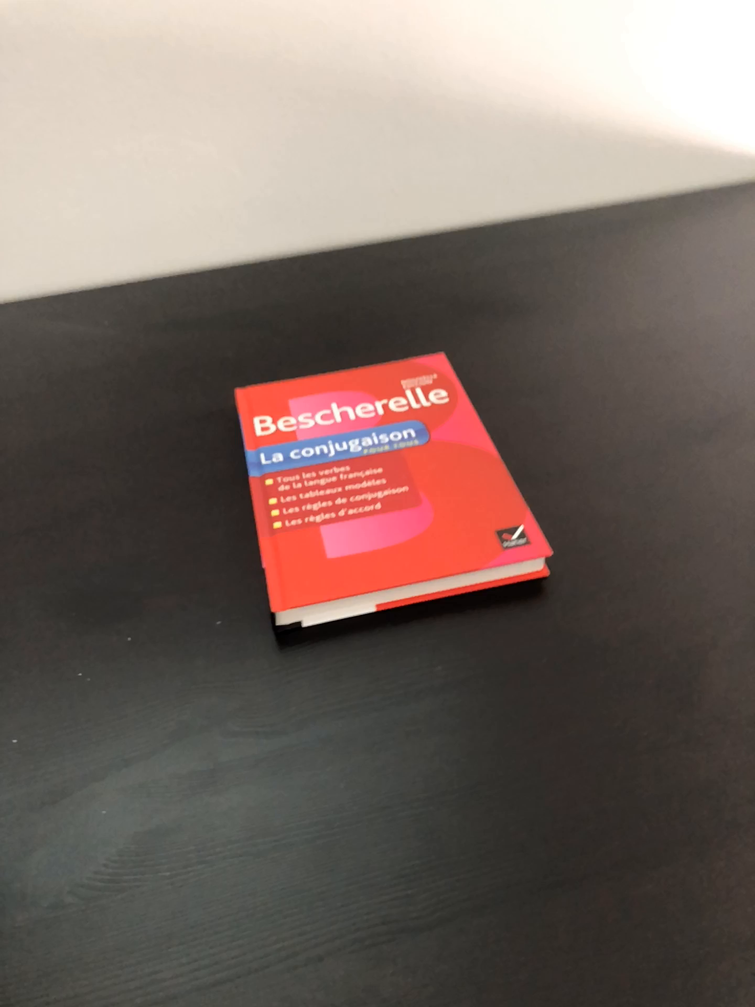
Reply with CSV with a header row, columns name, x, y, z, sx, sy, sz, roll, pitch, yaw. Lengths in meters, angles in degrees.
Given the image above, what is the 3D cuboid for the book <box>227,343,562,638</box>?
name,x,y,z,sx,sy,sz,roll,pitch,yaw
book,-0.003,-0.021,0.484,0.150,0.020,0.204,-11,41,-6
